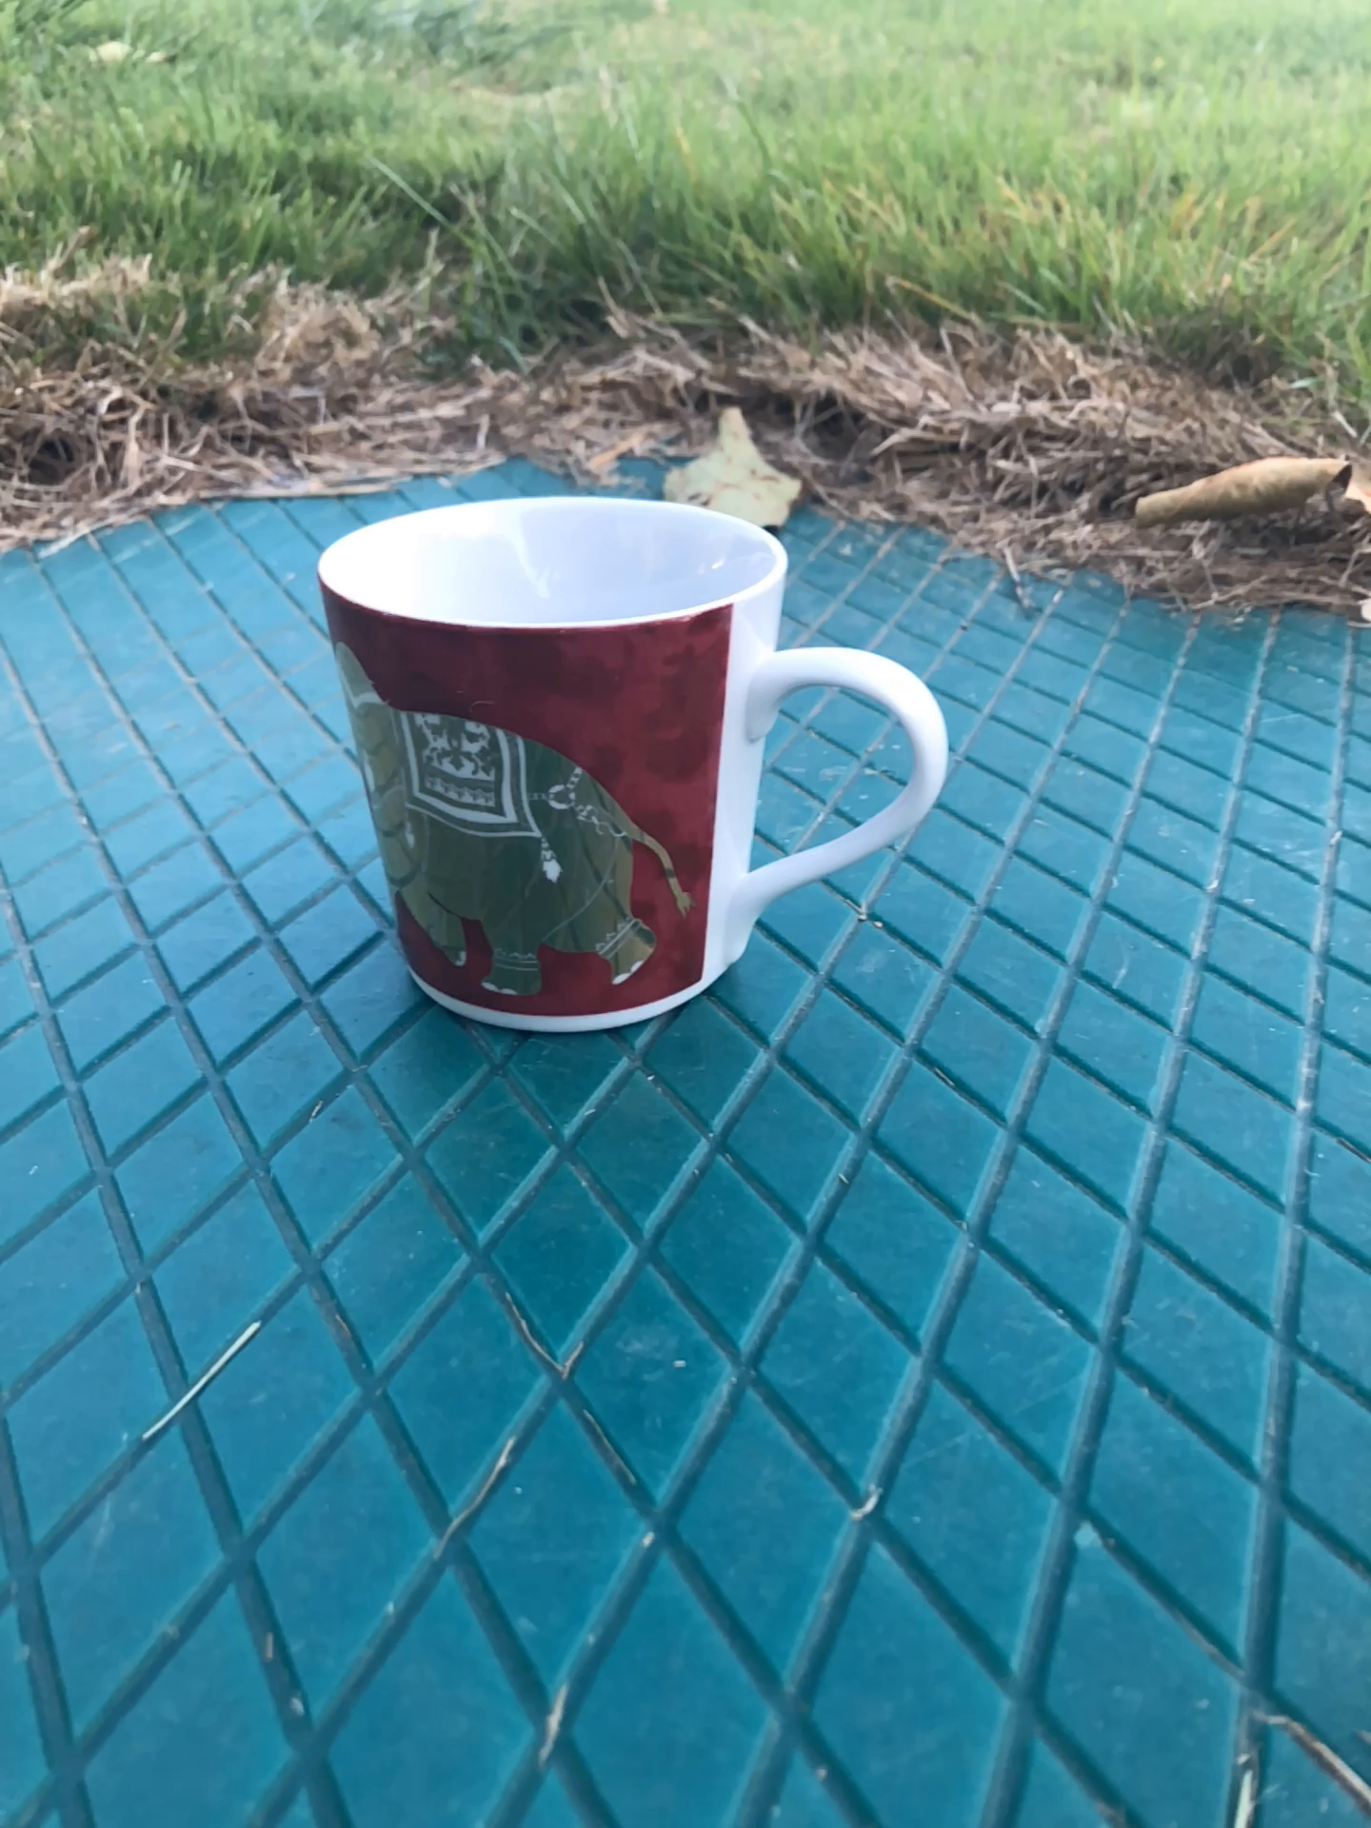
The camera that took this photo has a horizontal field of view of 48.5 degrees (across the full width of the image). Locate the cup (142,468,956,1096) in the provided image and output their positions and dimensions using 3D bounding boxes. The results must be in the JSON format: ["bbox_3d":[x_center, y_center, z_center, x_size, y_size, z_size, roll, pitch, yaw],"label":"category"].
[{"bbox_3d":[-0.018,-0.030,0.268,0.110,0.070,0.082,10,30,18],"label":"cup"}]
